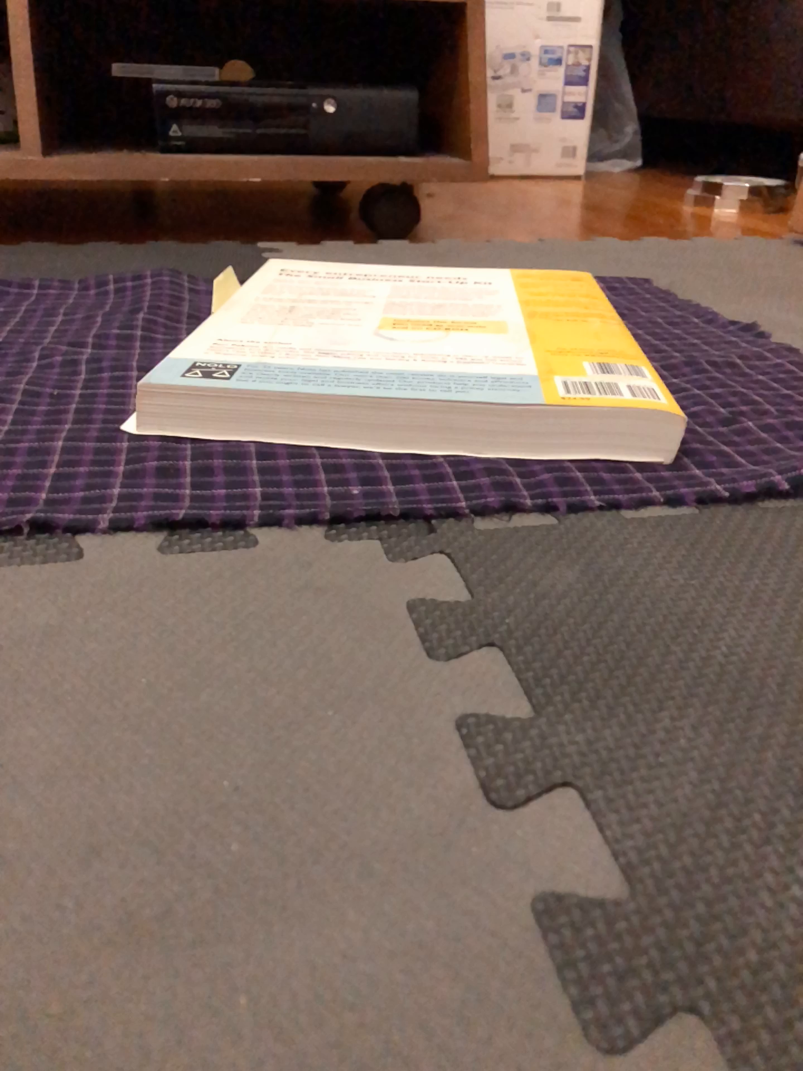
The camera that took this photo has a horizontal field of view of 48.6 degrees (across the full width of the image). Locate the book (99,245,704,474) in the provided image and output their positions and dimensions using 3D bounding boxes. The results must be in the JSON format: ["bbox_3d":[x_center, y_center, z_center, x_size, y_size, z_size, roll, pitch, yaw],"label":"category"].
[{"bbox_3d":[0.008,-0.113,0.483,0.230,0.030,0.312,4,26,2],"label":"book"}]
